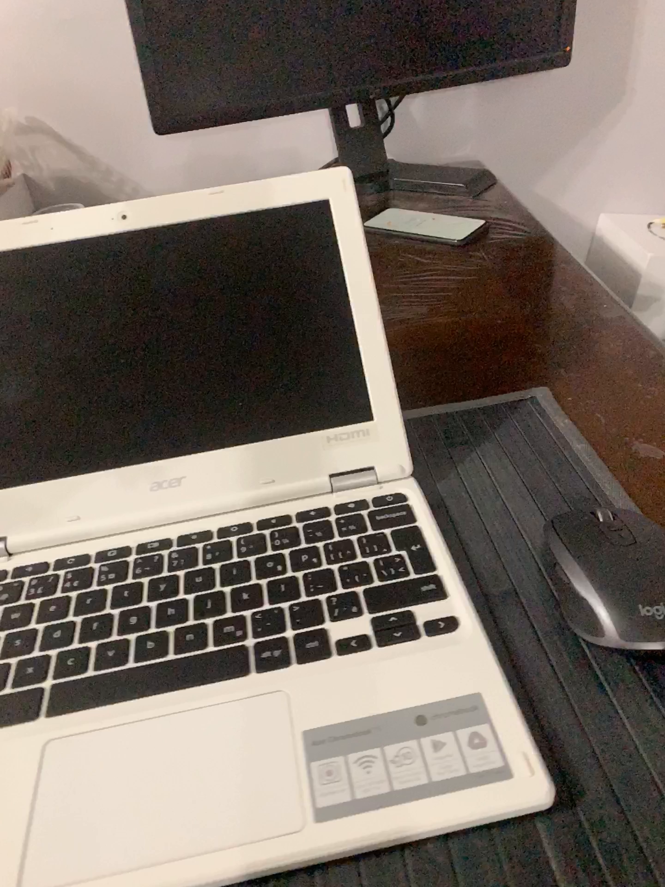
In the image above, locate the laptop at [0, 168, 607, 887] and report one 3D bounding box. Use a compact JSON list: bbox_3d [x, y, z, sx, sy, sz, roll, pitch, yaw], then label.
[{"bbox_3d":[-0.093,0.003,0.329,0.284,0.142,0.329,-10,36,-4],"label":"laptop"}]
